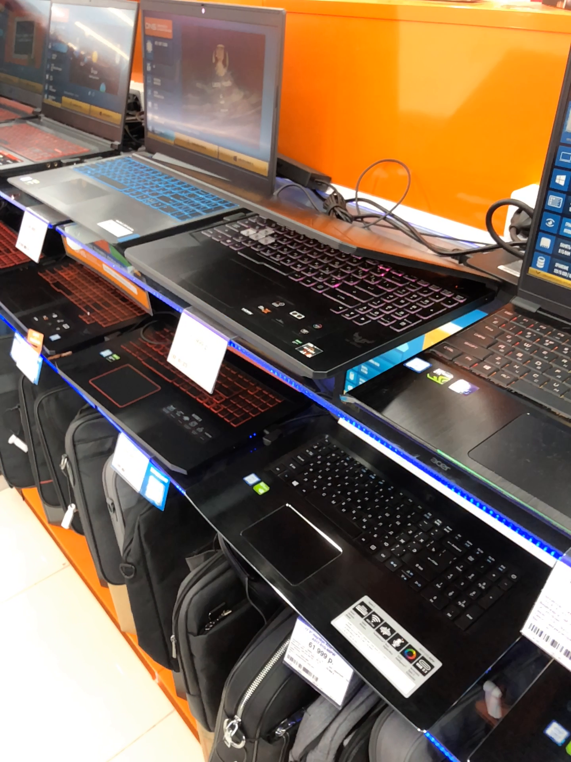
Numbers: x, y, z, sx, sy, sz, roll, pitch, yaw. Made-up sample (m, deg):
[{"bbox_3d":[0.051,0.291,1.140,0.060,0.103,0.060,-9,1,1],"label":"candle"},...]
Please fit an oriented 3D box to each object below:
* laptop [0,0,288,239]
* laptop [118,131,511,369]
[{"bbox_3d":[-0.218,-0.412,0.933,0.283,0.235,0.358,-26,41,-32],"label":"laptop"},{"bbox_3d":[0.018,-0.172,0.697,0.240,0.106,0.348,-26,42,-32],"label":"laptop"}]
